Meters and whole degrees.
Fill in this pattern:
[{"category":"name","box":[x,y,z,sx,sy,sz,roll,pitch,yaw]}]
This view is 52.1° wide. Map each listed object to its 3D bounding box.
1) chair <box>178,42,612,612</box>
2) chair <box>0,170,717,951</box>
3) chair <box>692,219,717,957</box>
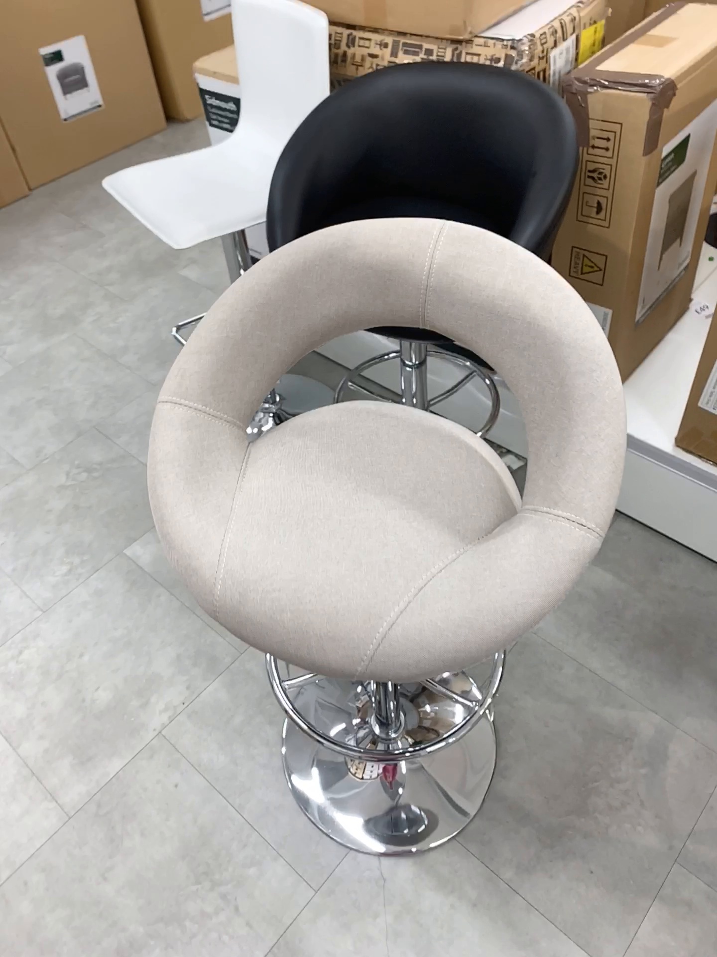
[{"category":"chair","box":[0.099,-0.271,1.514,0.518,0.933,0.486,24,54,25]},{"category":"chair","box":[0.031,0.177,1.067,0.567,0.963,0.486,21,53,23]},{"category":"chair","box":[0.948,0.251,0.968,0.544,0.864,0.519,-30,52,-21]}]
